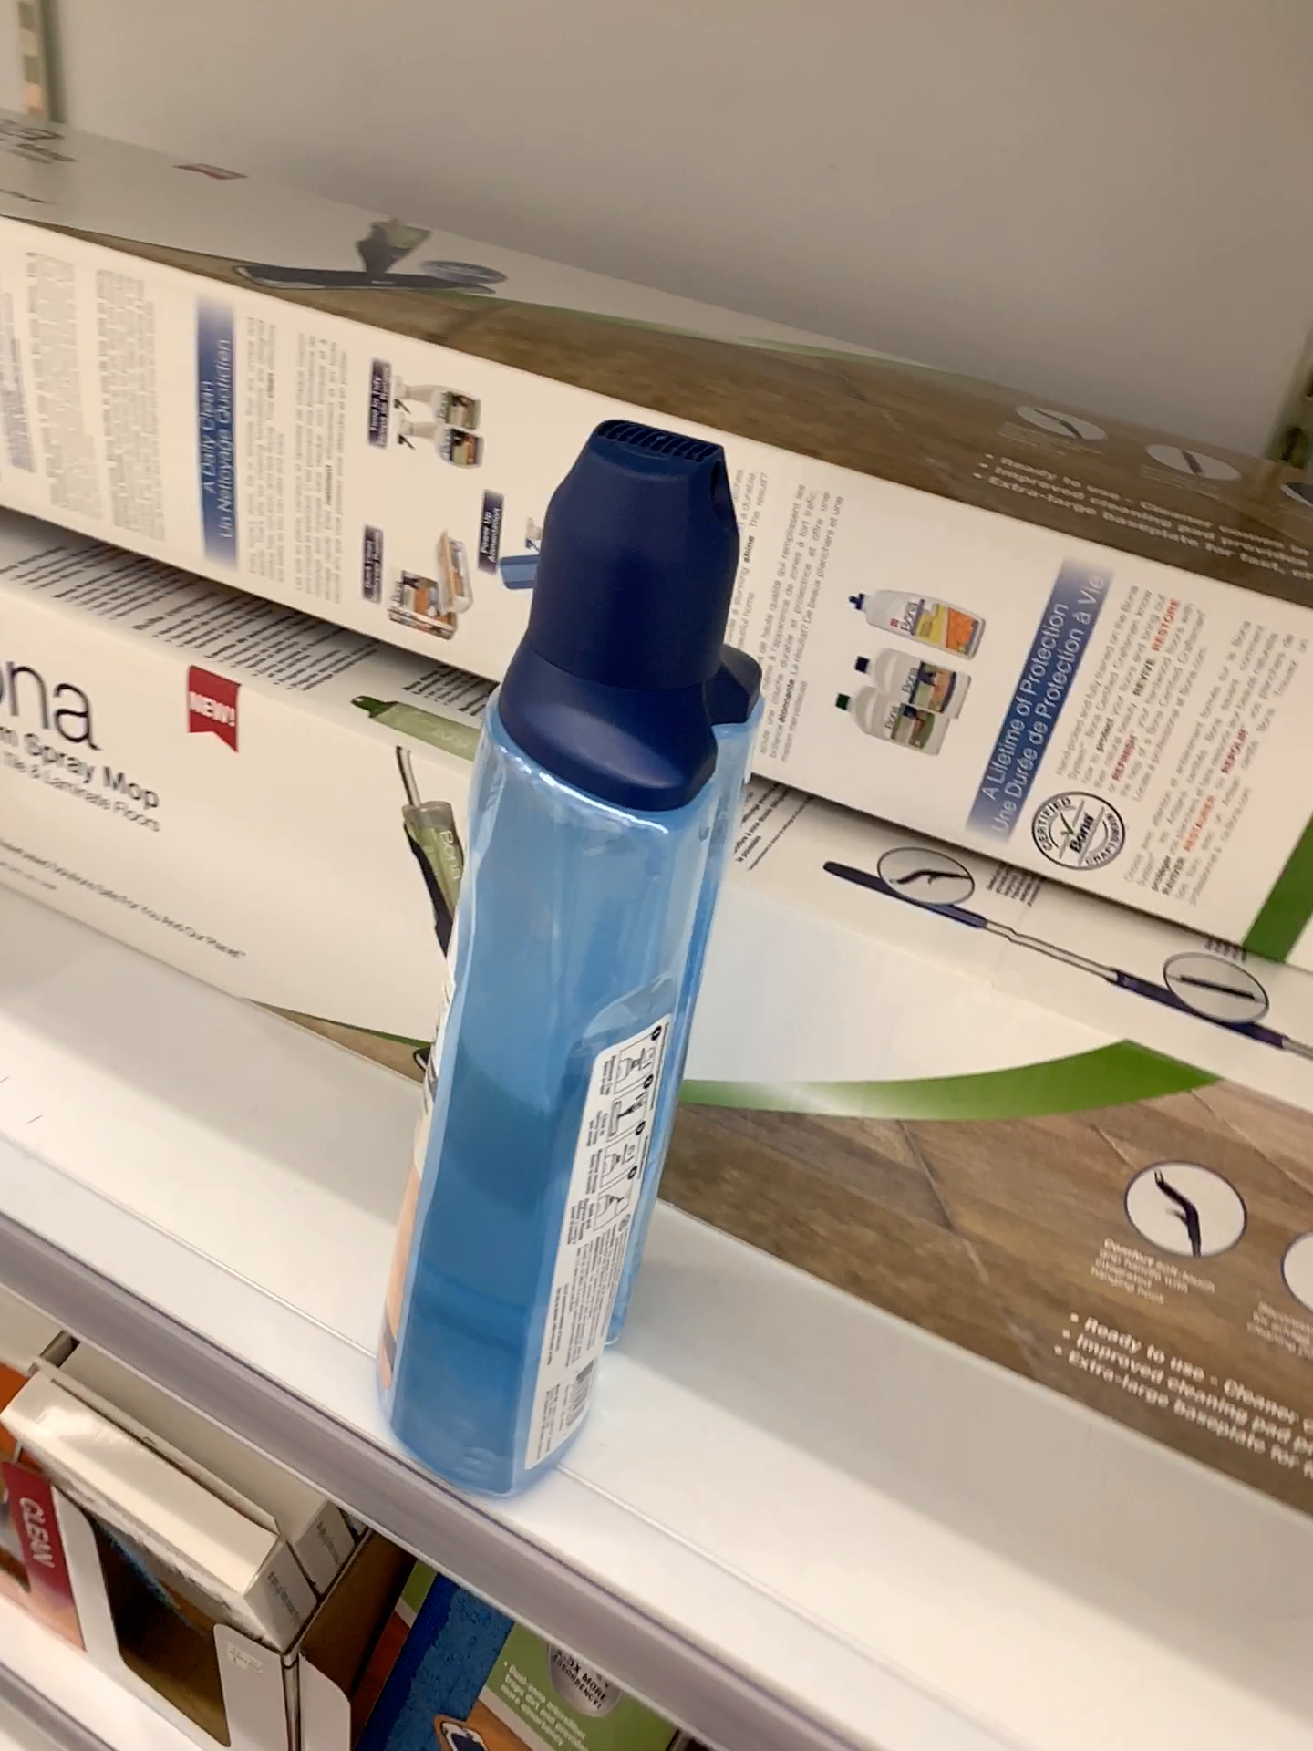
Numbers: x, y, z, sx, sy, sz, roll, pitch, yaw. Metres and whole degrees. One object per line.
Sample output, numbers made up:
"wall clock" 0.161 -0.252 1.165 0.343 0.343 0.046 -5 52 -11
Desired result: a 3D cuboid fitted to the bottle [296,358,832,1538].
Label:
"bottle" -0.031 0.031 0.342 0.080 0.279 0.101 14 33 7
